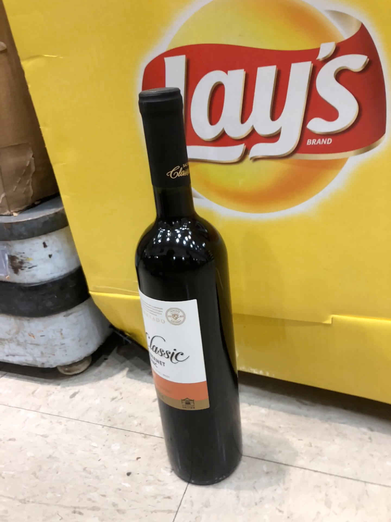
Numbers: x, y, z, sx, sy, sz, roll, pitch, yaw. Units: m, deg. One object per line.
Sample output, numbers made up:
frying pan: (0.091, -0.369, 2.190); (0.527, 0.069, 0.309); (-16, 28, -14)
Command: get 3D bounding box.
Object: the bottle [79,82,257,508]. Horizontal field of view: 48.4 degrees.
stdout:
bottle: (-0.009, 0.039, 0.333); (0.070, 0.318, 0.060); (17, 34, 42)
